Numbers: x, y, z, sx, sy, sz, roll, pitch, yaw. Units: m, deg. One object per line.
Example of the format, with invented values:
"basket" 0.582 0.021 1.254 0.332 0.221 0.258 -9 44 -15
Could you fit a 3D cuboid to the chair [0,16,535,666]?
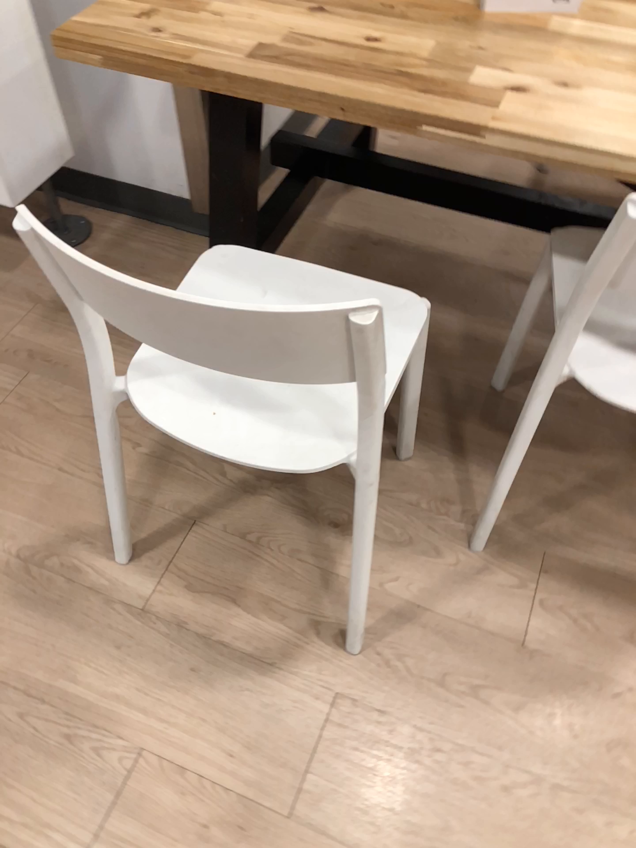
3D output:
"chair" -0.065 -0.101 1.088 0.531 0.716 0.562 17 54 13
